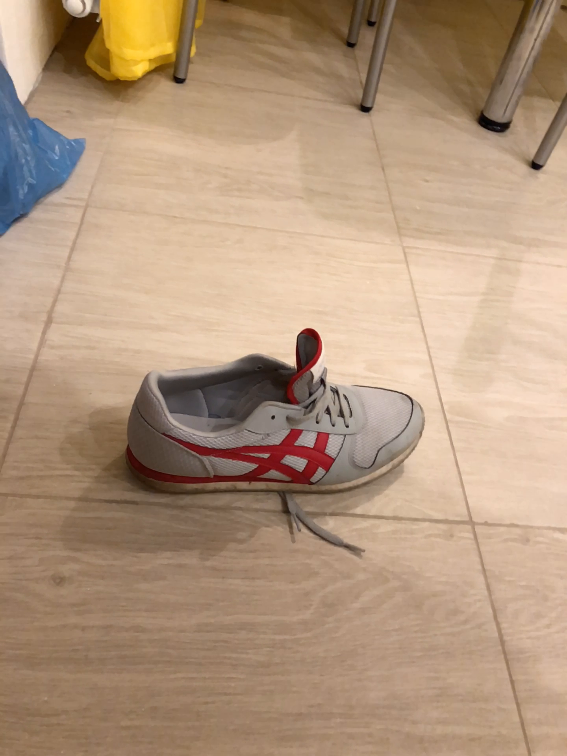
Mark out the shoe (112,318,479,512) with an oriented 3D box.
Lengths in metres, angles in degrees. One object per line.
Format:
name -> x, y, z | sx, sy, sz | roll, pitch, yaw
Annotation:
shoe -> 0.000, 0.031, 0.570 | 0.298, 0.129, 0.111 | -1, 49, -14
